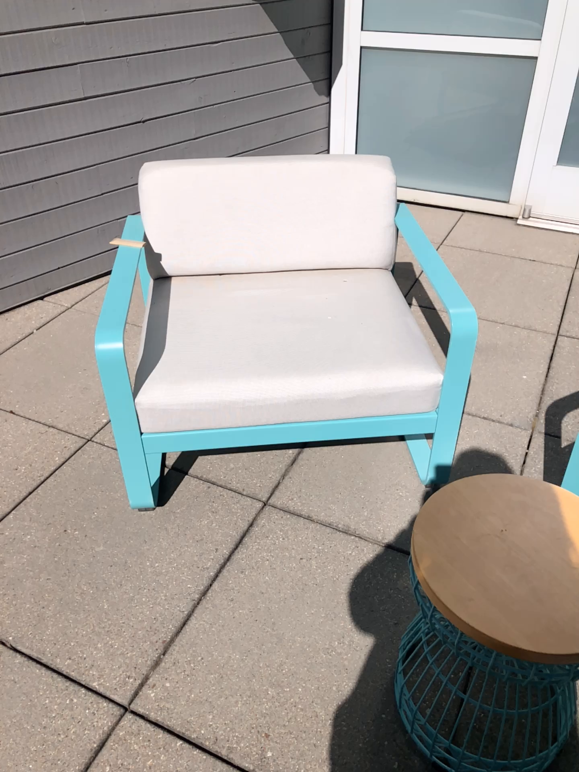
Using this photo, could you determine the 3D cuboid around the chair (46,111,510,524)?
[{"bbox_3d":[-0.054,-0.250,1.803,0.900,0.766,0.875,-5,36,-5],"label":"chair"}]
